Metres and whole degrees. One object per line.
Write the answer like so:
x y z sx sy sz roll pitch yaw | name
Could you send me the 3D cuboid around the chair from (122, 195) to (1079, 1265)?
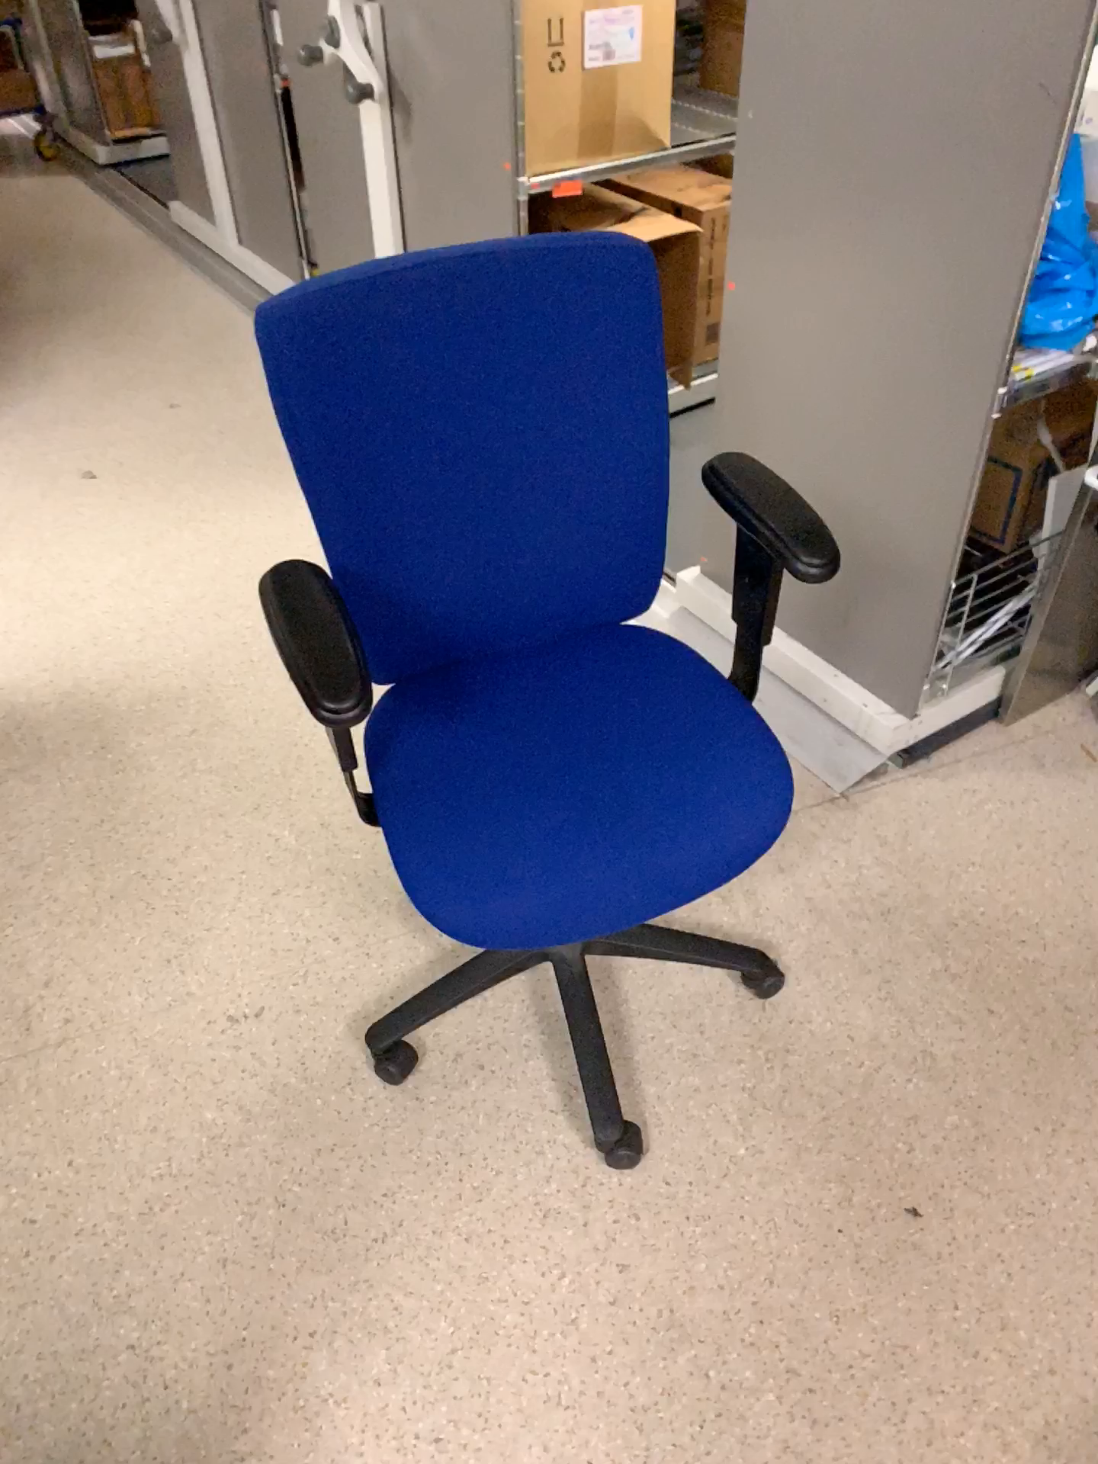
-0.003 -0.037 1.416 0.671 0.931 0.766 -19 44 -19 | chair
